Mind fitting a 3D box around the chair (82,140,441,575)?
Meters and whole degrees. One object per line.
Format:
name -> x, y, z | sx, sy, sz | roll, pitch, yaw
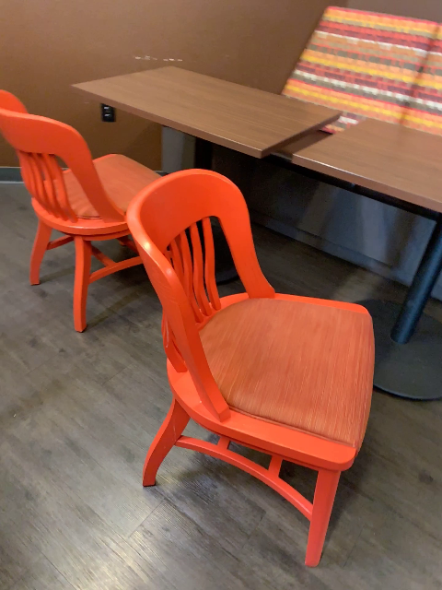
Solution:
chair -> 0.098, 0.145, 1.148 | 0.580, 0.806, 0.562 | 14, 38, 11
